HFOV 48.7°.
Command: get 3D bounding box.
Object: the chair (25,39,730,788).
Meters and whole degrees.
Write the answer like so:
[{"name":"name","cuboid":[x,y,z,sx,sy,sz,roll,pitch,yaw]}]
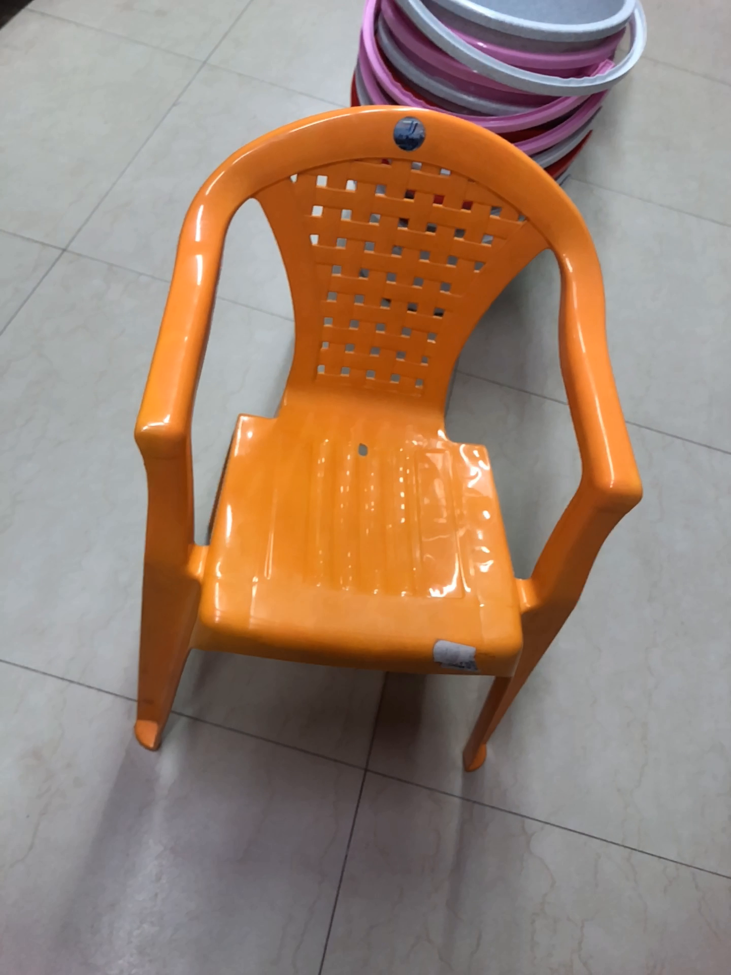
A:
[{"name":"chair","cuboid":[-0.005,-0.022,0.712,0.390,0.467,0.402,8,53,-7]}]
